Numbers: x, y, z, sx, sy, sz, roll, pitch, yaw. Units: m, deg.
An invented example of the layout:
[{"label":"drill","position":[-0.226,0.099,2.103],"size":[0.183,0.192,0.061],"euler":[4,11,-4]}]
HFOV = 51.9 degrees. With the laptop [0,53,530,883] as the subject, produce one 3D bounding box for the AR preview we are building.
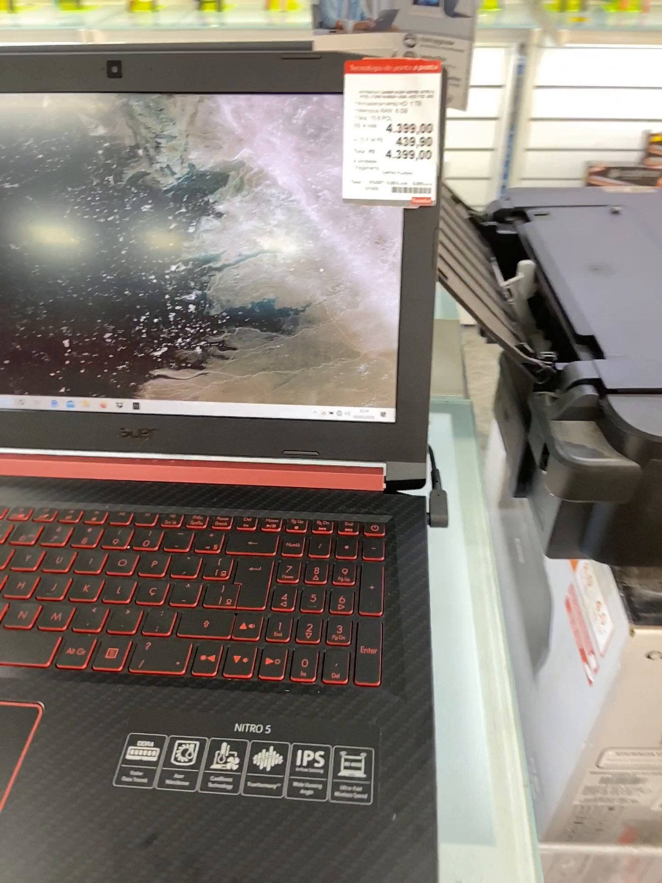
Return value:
[{"label":"laptop","position":[-0.138,-0.025,0.339],"size":[0.387,0.218,0.362],"euler":[2,41,5]}]
